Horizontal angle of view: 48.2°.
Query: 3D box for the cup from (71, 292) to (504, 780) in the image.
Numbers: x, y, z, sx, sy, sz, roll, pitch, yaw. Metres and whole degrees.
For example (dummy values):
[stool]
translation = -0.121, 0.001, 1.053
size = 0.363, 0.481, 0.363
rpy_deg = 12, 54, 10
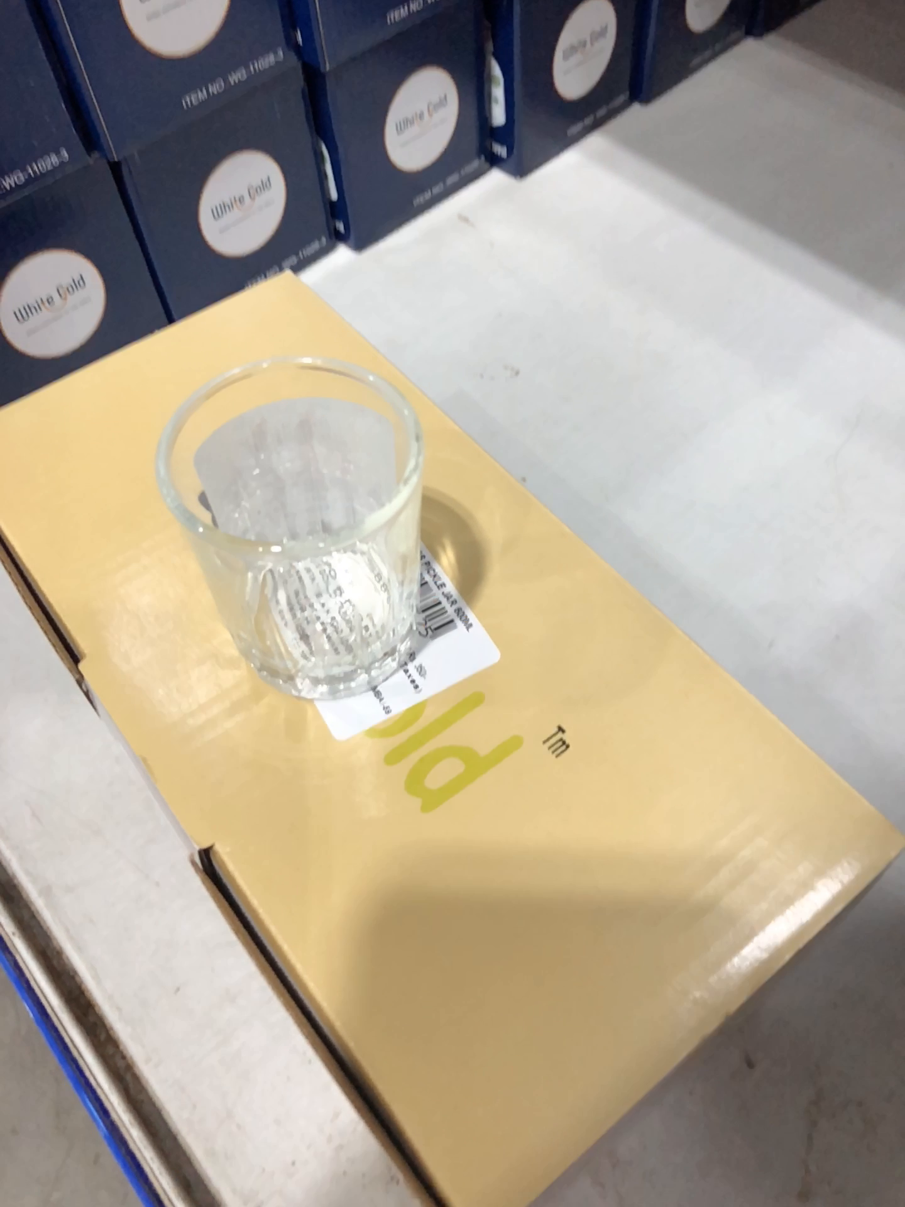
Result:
[cup]
translation = -0.026, -0.011, 0.191
size = 0.050, 0.060, 0.050
rpy_deg = -2, 57, 3
